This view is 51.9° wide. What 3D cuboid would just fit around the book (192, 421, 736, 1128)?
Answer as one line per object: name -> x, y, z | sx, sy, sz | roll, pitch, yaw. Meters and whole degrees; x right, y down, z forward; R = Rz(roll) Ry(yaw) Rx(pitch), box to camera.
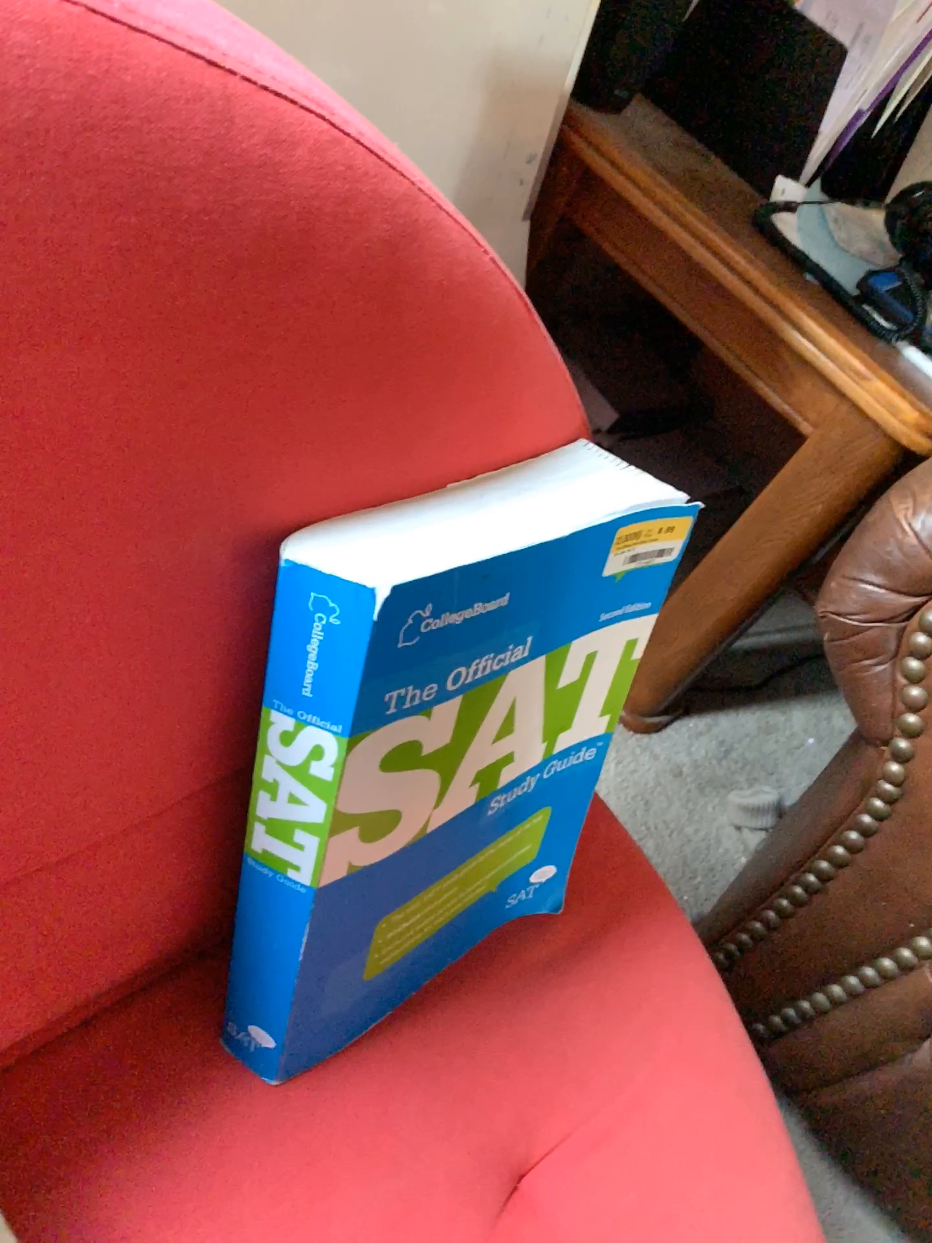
book -> -0.003, 0.056, 0.447 | 0.231, 0.259, 0.080 | -19, 38, -41
